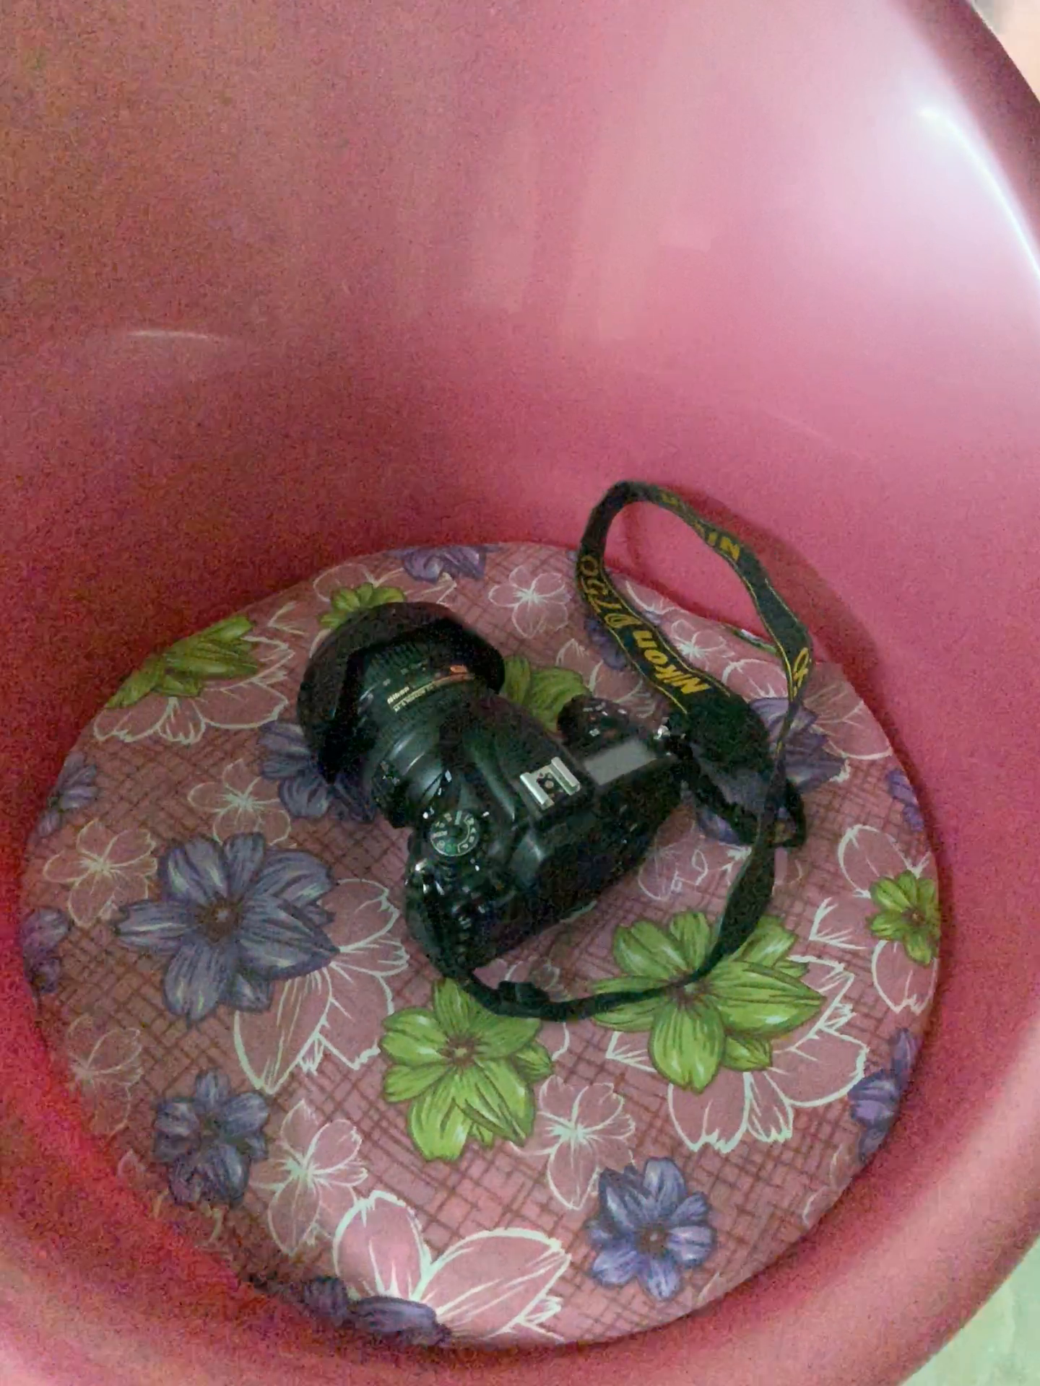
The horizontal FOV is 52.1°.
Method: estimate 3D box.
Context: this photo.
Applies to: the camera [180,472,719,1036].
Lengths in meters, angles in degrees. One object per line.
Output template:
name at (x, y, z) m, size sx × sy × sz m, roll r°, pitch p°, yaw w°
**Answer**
camera at (-0.040, 0.025, 0.529) m, size 0.166 × 0.130 × 0.192 m, roll -26°, pitch 62°, yaw -22°
